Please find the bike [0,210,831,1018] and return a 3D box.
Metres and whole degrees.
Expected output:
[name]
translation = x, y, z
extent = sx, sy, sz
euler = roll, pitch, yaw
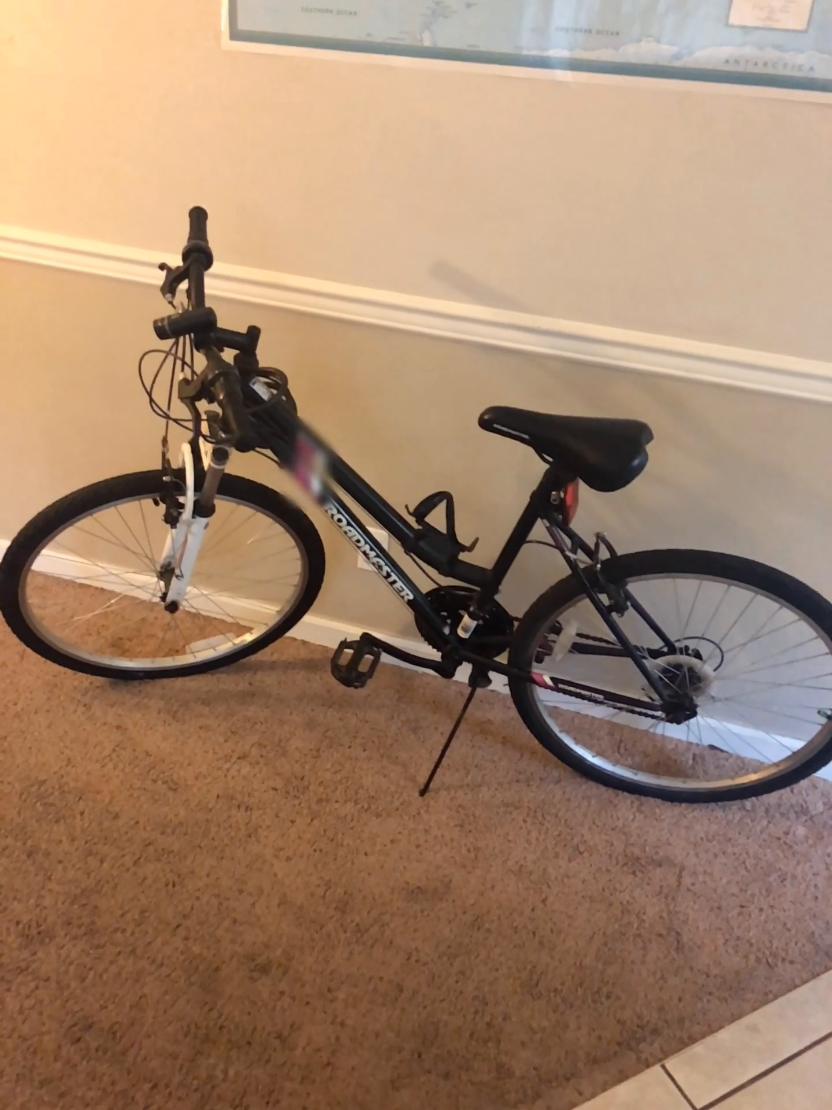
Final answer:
[bike]
translation = 0.000, 0.075, 1.816
extent = 1.864, 1.177, 0.682
euler = 8, 29, 5
